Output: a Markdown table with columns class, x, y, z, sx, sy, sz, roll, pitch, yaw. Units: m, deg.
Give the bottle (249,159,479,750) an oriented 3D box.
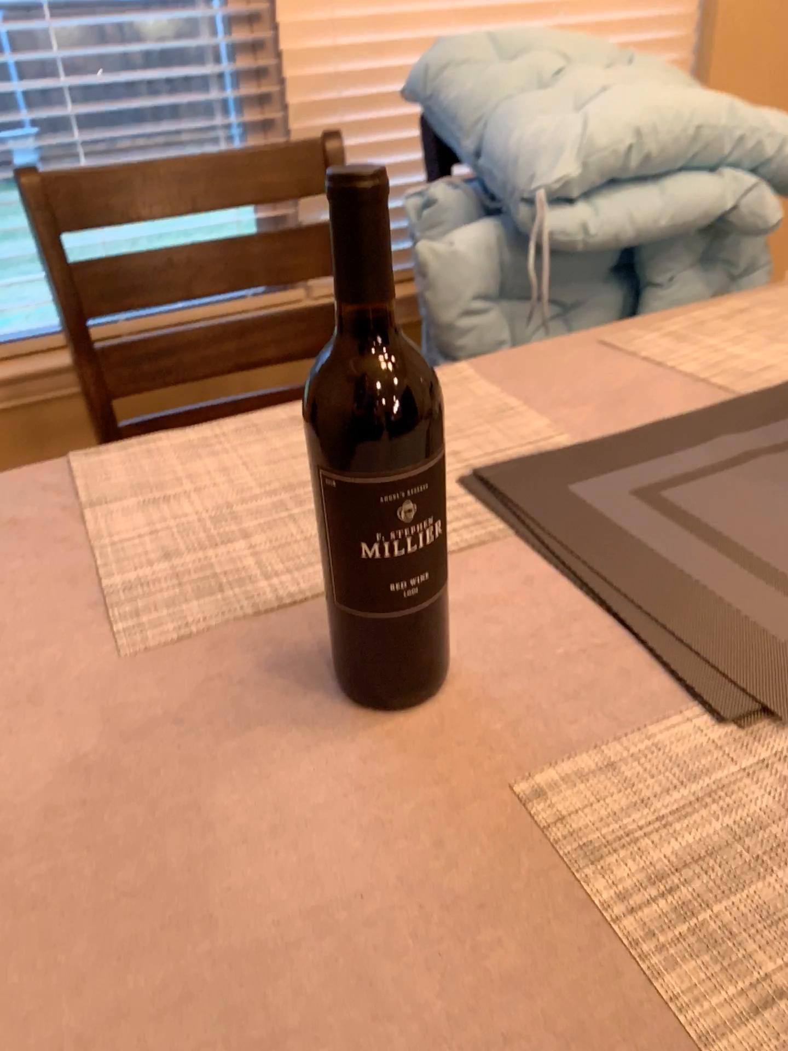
| class | x | y | z | sx | sy | sz | roll | pitch | yaw |
| --- | --- | --- | --- | --- | --- | --- | --- | --- | --- |
| bottle | -0.008 | -0.026 | 0.456 | 0.080 | 0.314 | 0.080 | -3 | 32 | 2 |
